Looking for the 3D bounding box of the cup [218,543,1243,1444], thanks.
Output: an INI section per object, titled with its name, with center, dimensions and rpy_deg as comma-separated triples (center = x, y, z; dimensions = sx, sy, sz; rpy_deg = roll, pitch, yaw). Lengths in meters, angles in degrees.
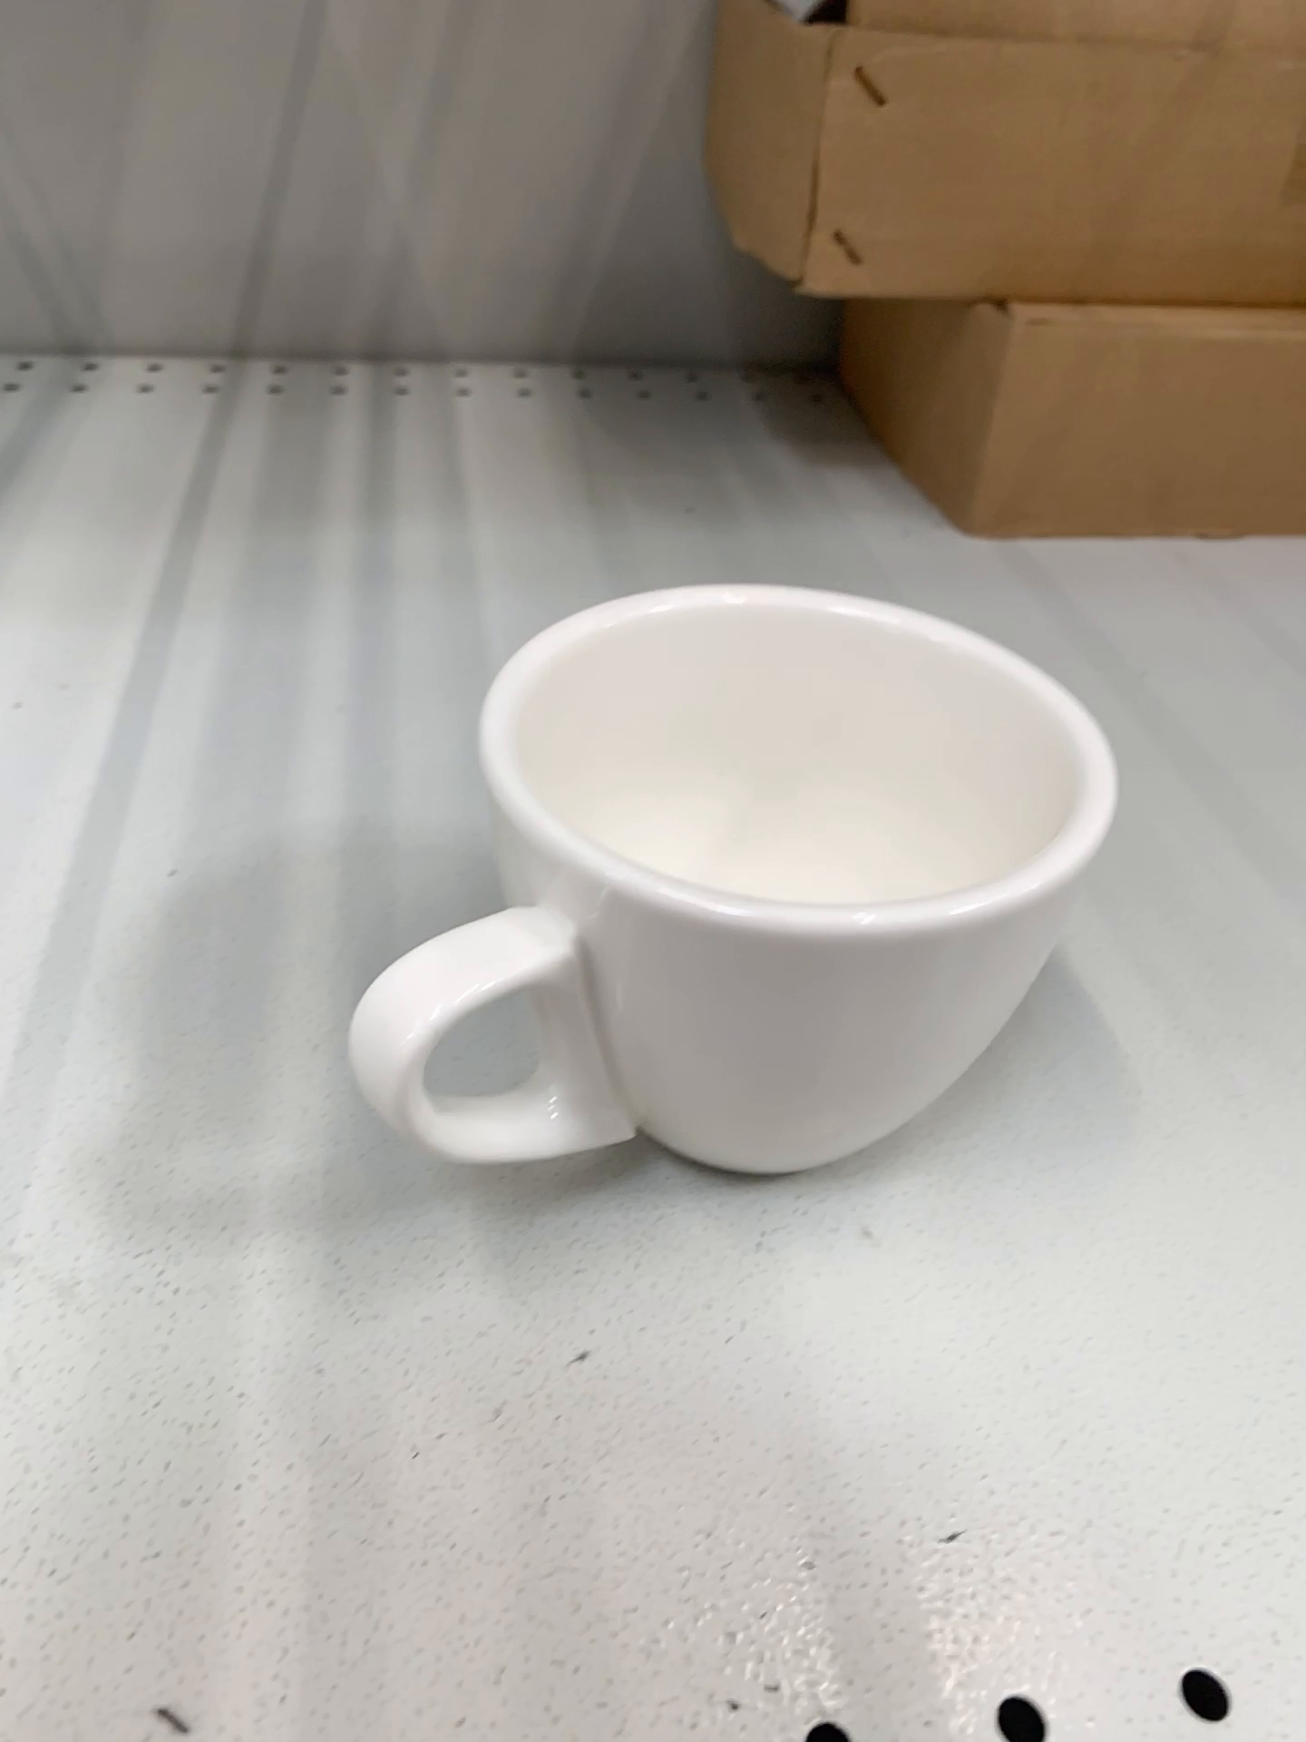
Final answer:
[cup]
center = 0.011, 0.007, 0.233
dimensions = 0.128, 0.072, 0.096
rpy_deg = -21, 43, -31
